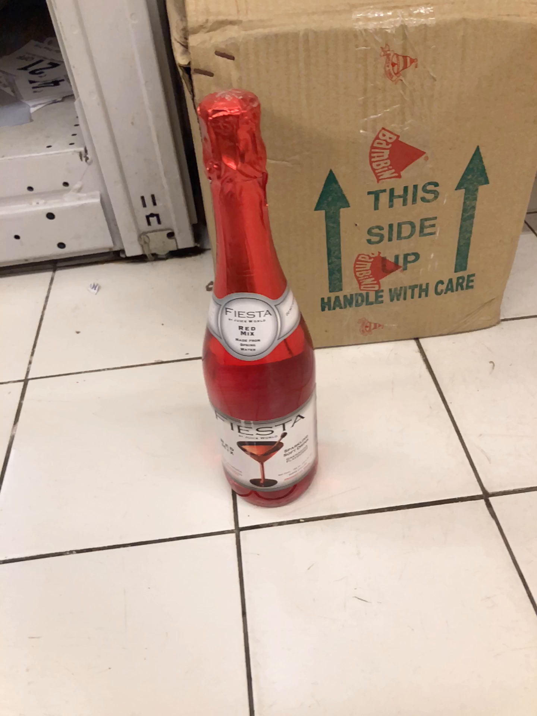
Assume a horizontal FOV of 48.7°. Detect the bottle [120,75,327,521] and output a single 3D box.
[{"bbox_3d":[-0.010,-0.012,0.388,0.090,0.298,0.081,-3,43,2],"label":"bottle"}]
